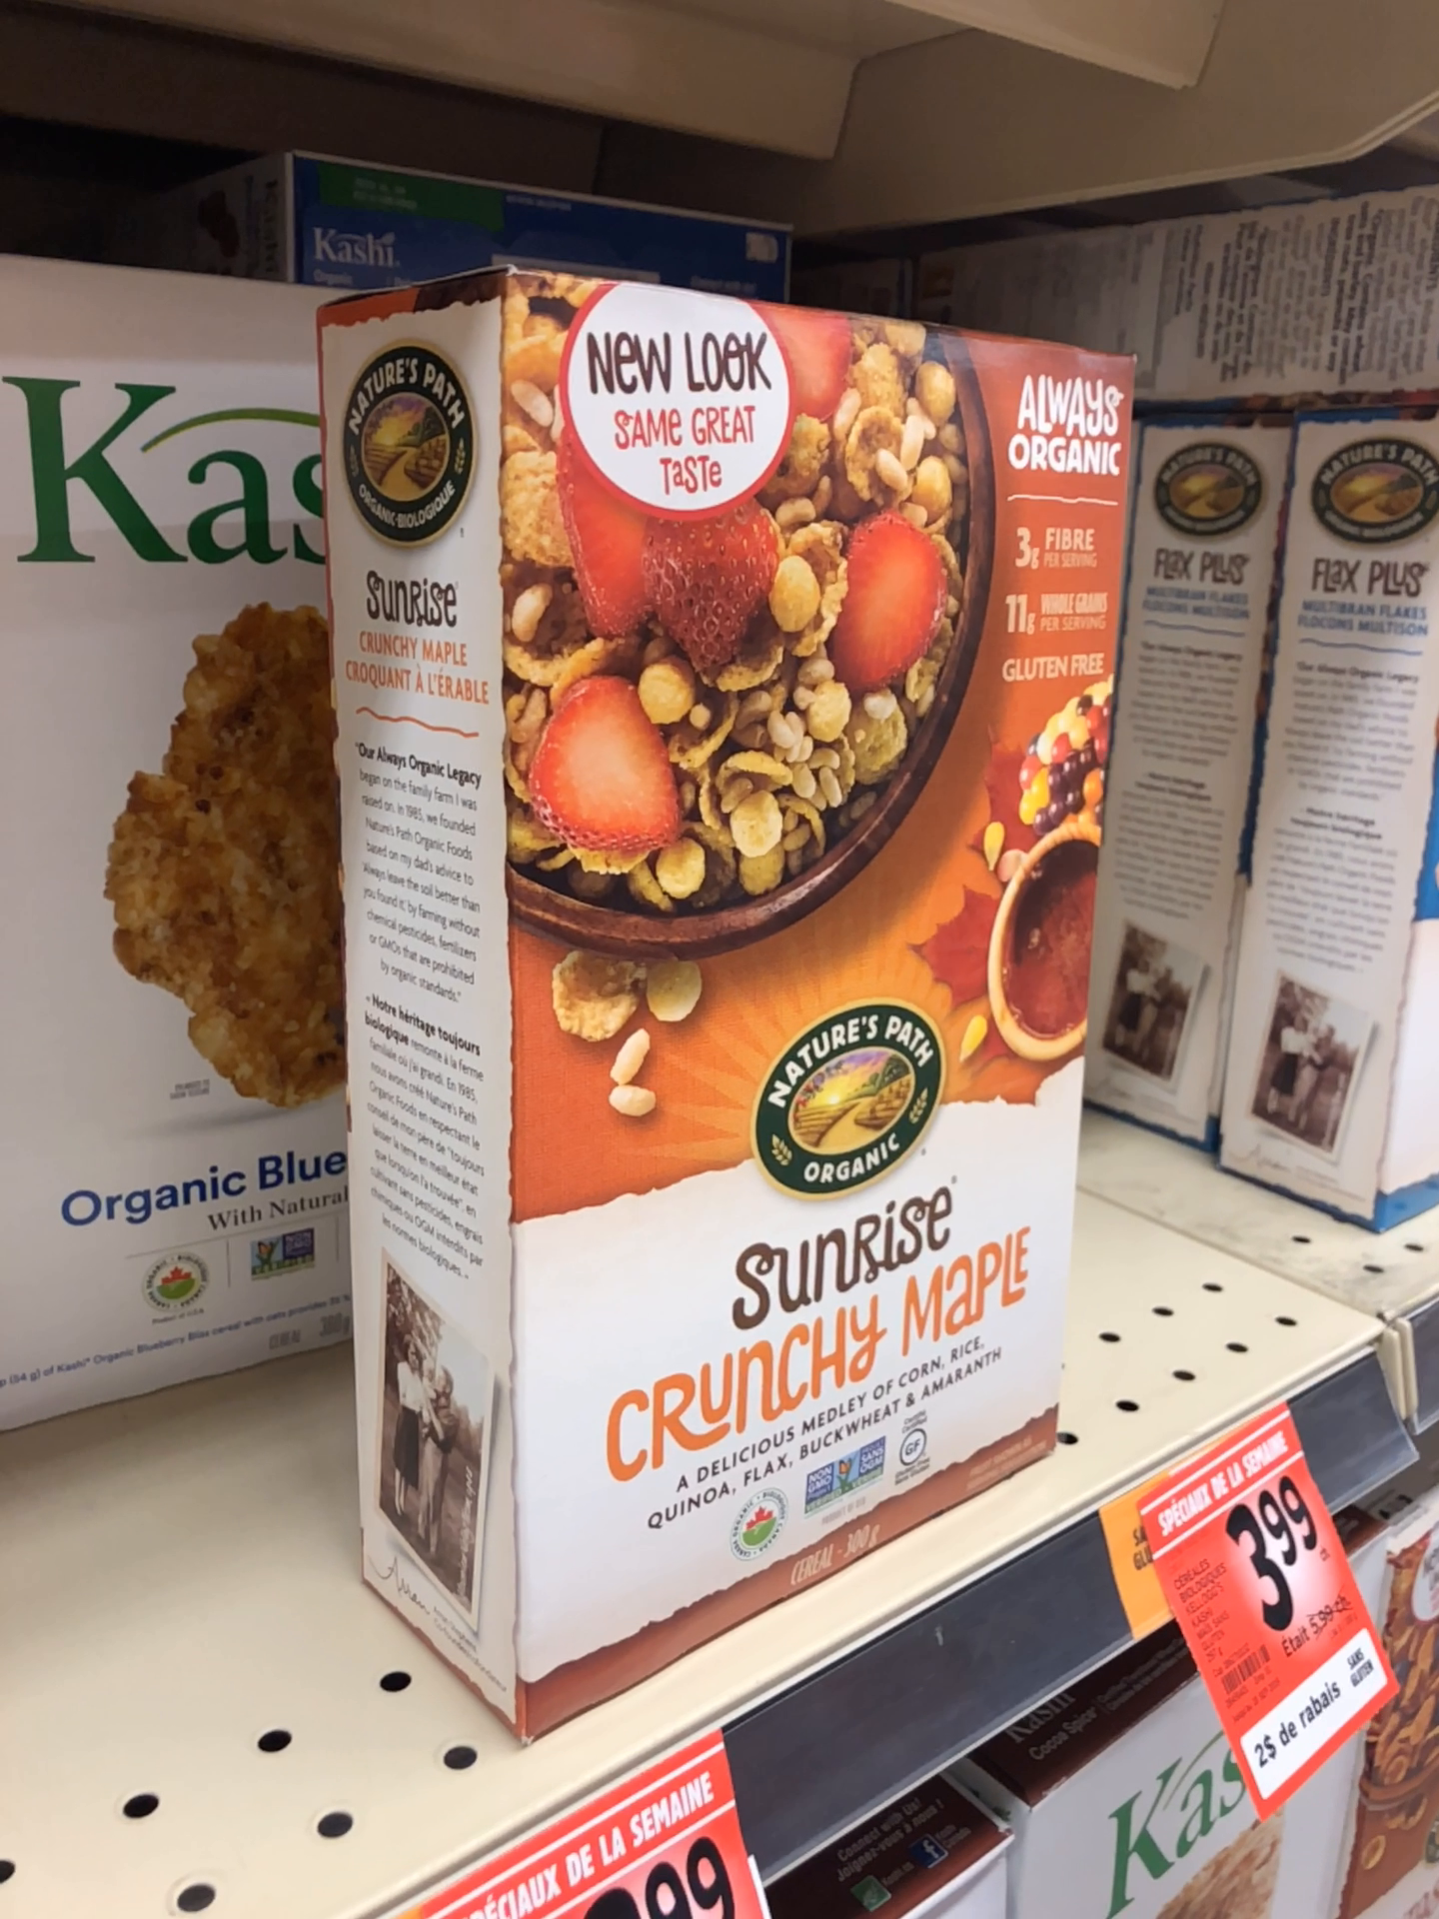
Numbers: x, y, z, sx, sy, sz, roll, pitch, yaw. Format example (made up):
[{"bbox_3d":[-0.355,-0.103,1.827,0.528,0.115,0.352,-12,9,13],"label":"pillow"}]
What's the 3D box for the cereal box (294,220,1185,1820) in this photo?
[{"bbox_3d":[0.011,0.006,0.333,0.170,0.269,0.060,-11,19,-39],"label":"cereal box"}]
